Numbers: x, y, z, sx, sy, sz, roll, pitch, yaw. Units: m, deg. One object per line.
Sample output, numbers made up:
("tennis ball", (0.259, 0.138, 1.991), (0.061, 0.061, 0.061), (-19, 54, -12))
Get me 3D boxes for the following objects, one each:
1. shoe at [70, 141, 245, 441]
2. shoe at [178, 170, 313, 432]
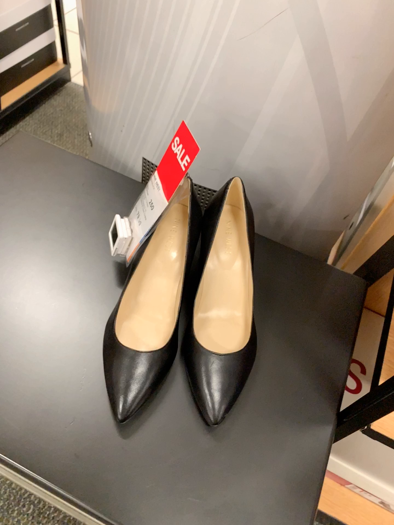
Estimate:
("shoe", (-0.033, 0.031, 0.445), (0.100, 0.189, 0.251), (13, 53, 0))
("shoe", (0.050, 0.049, 0.504), (0.100, 0.189, 0.251), (9, 53, -3))
